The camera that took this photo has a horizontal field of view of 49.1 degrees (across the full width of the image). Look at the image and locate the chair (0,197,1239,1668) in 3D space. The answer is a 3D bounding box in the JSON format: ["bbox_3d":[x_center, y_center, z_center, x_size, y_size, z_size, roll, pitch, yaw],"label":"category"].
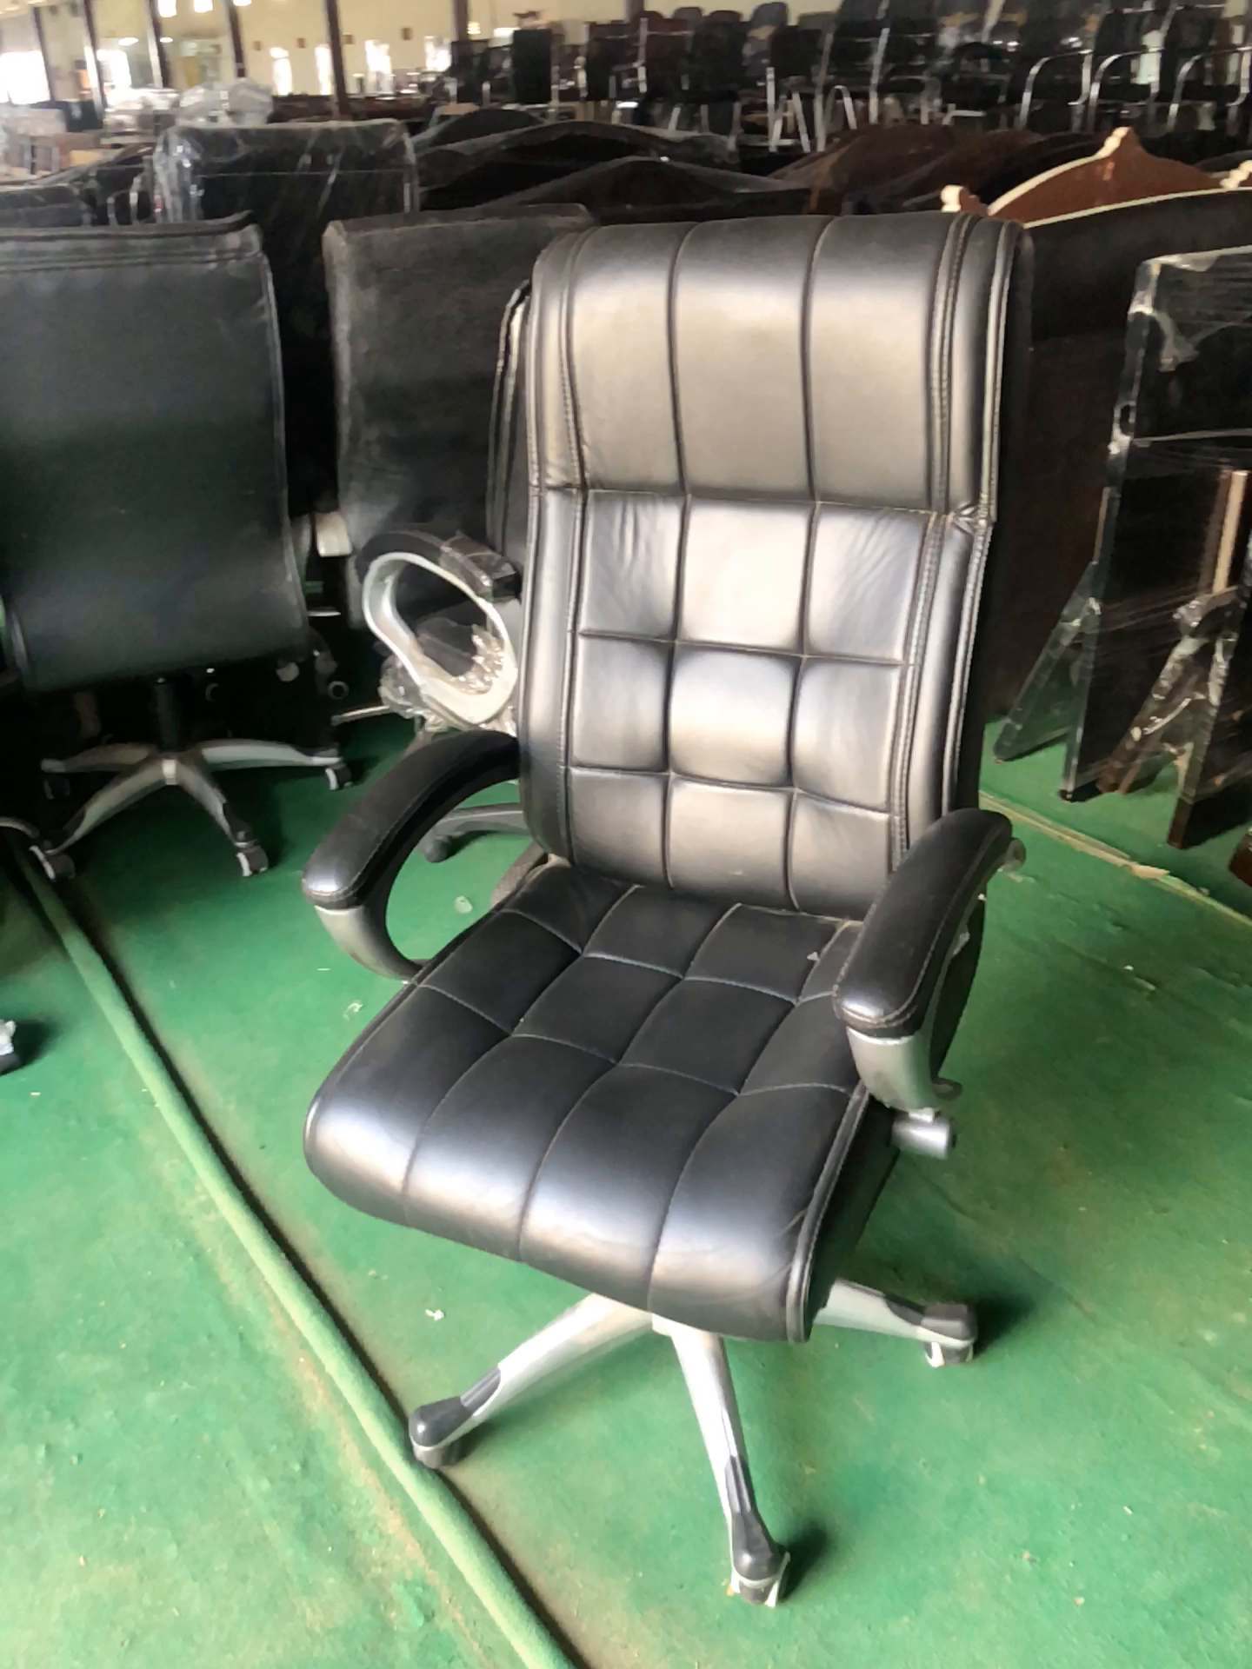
[{"bbox_3d":[0.082,0.028,1.462,0.810,1.224,0.835,11,31,21],"label":"chair"}]
